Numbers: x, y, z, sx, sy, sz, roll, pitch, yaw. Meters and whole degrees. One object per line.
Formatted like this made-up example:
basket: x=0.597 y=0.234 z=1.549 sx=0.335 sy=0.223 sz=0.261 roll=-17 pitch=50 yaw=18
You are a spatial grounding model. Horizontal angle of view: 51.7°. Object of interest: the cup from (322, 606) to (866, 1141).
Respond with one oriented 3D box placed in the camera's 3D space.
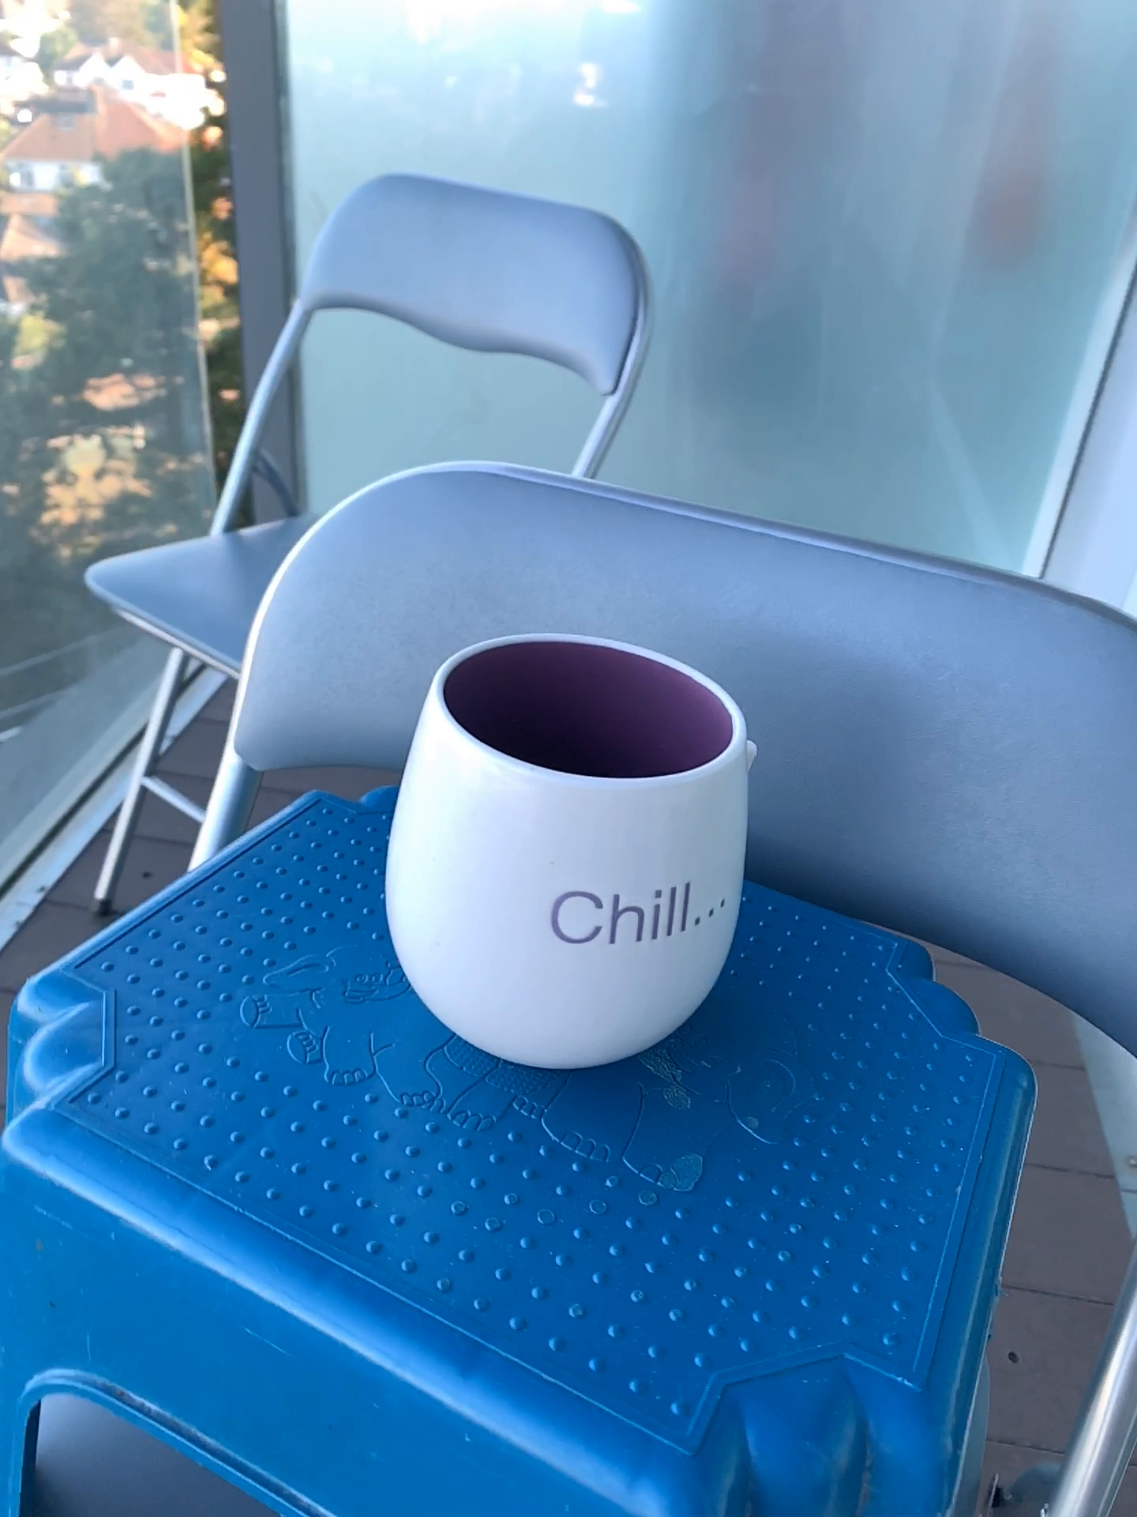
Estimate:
cup: x=0.001 y=0.024 z=0.347 sx=0.111 sy=0.090 sz=0.105 roll=6 pitch=30 yaw=-4
